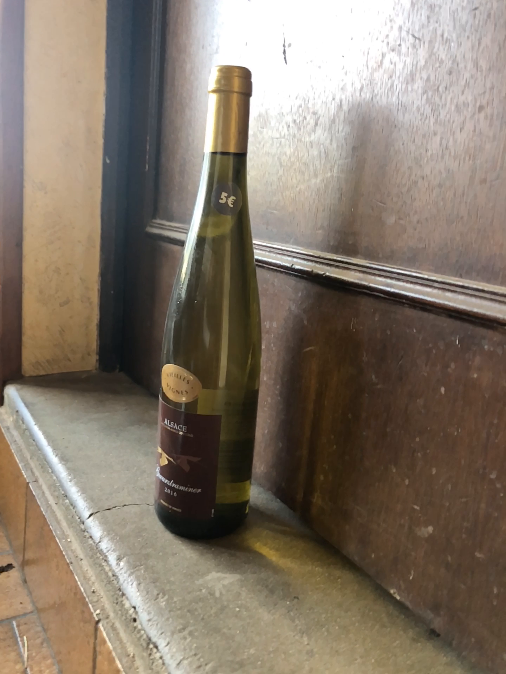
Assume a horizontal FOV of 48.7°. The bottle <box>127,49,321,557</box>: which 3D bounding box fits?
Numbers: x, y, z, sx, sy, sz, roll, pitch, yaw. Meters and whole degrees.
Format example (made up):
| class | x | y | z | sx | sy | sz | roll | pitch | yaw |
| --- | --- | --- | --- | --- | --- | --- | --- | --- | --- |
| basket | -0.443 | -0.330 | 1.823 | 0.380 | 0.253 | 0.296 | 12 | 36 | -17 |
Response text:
| class | x | y | z | sx | sy | sz | roll | pitch | yaw |
| --- | --- | --- | --- | --- | --- | --- | --- | --- | --- |
| bottle | -0.023 | -0.019 | 0.387 | 0.080 | 0.309 | 0.080 | 5 | 13 | -1 |
